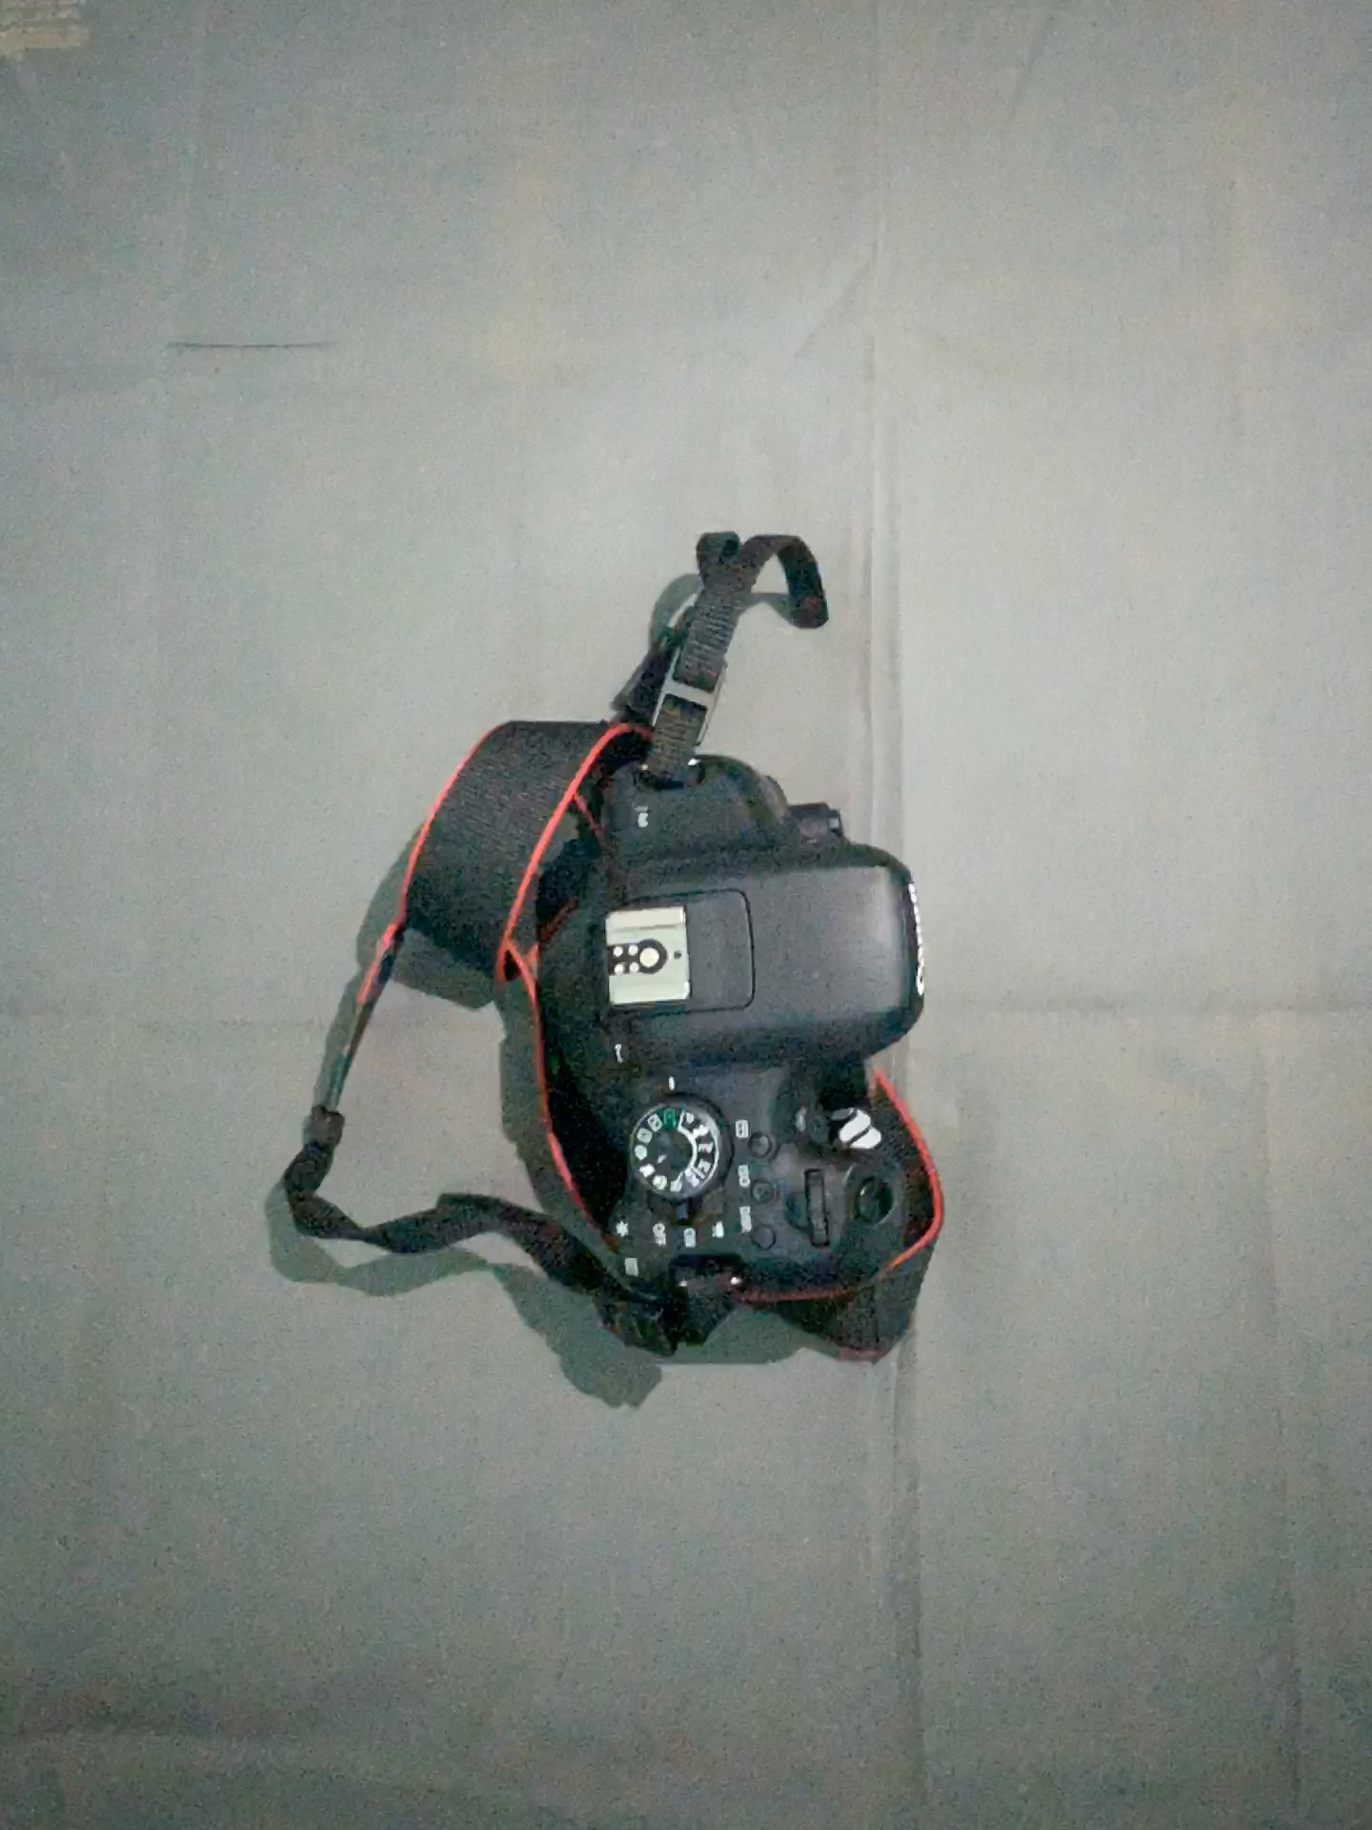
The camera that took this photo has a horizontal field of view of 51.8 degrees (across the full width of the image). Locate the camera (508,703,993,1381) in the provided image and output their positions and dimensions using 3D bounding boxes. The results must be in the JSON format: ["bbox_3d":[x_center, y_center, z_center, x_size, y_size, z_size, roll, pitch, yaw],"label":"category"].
[{"bbox_3d":[0.014,0.033,0.330,0.090,0.088,0.132,-4,78,5],"label":"camera"}]
